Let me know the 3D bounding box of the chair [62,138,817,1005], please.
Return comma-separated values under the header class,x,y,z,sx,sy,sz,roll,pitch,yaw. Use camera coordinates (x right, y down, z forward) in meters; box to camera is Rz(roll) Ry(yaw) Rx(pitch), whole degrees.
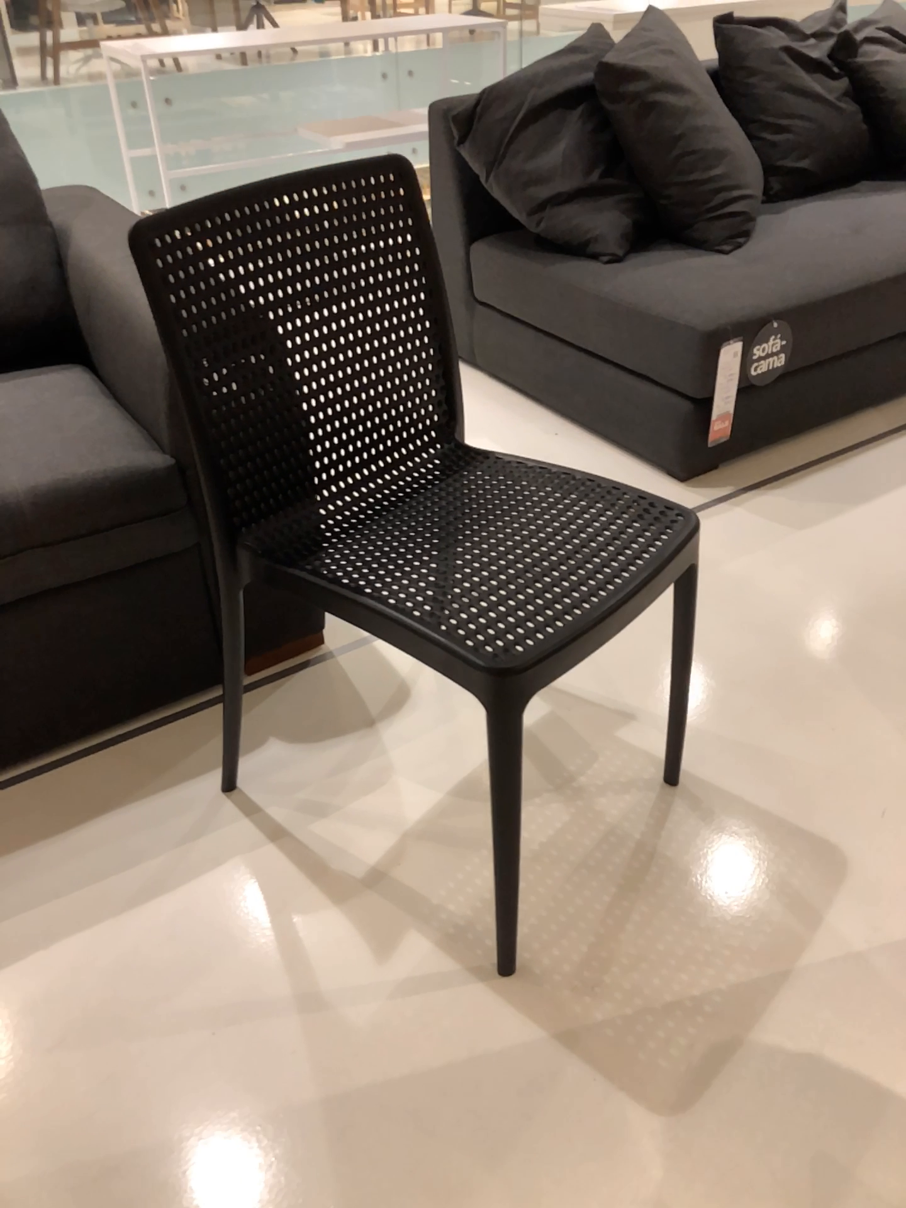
class,x,y,z,sx,sy,sz,roll,pitch,yaw
chair,0.005,-0.083,1.233,0.561,0.784,0.533,24,42,32
